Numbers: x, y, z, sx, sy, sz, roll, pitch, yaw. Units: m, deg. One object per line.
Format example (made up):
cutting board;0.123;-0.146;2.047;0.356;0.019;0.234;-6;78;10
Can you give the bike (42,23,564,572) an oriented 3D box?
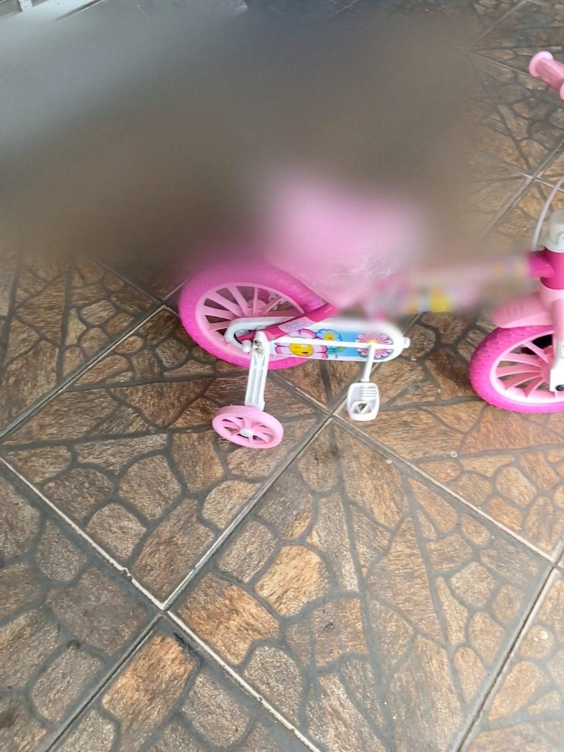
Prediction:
bike;0.192;-0.105;0.910;0.791;0.563;0.513;7;55;6
